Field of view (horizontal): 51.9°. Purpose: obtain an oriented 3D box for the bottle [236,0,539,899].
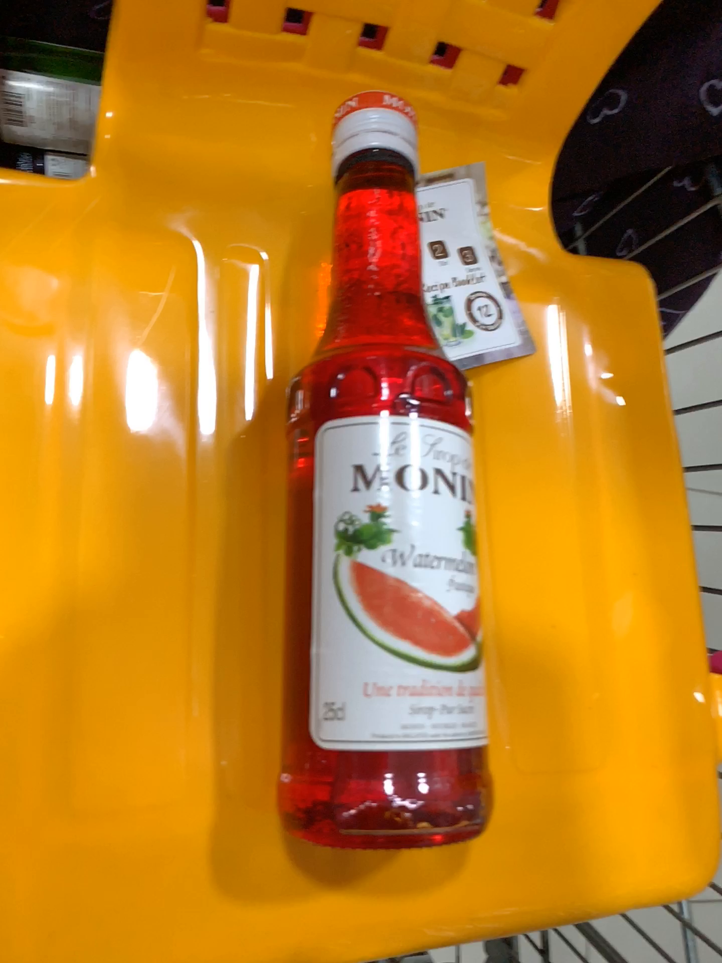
[{"bbox_3d":[0.006,-0.017,0.216,0.060,0.050,0.230,8,74,-27],"label":"bottle"}]
